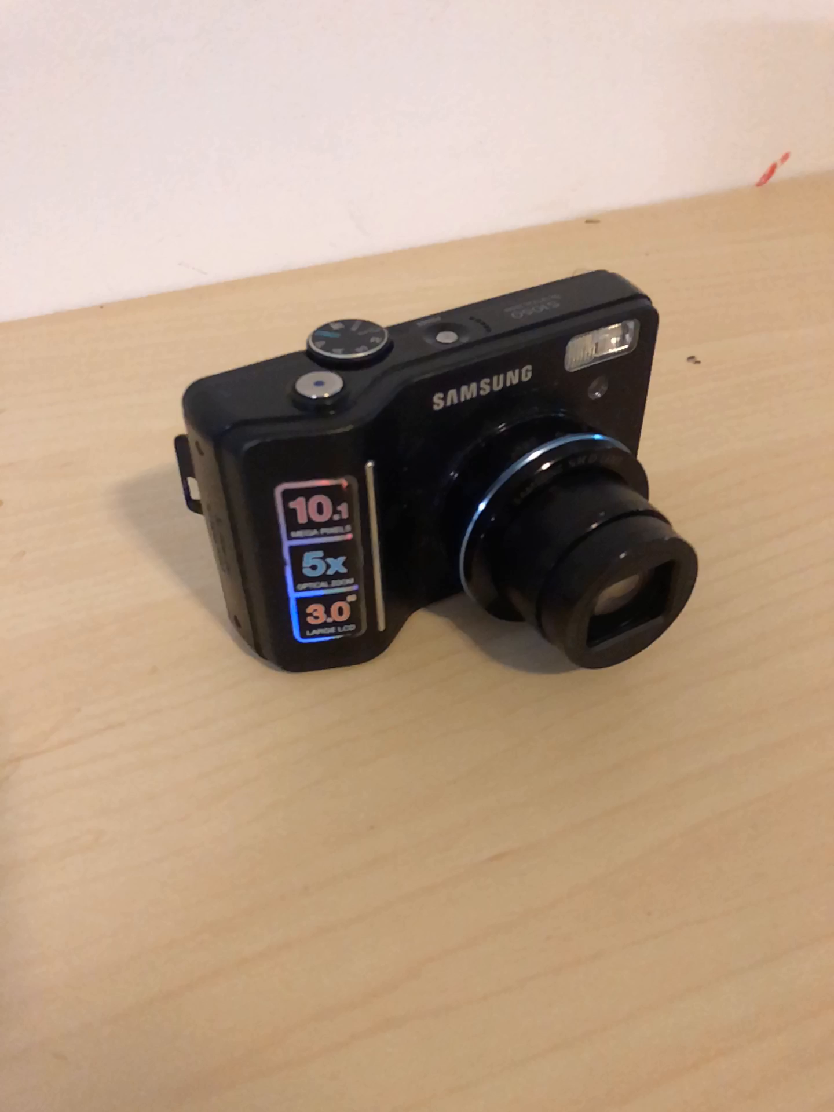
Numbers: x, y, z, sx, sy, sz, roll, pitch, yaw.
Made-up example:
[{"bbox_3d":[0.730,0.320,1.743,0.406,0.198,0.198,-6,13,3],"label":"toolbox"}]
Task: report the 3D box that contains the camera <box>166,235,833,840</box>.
[{"bbox_3d":[0.017,-0.010,0.196,0.110,0.070,0.070,-20,46,-19],"label":"camera"}]
